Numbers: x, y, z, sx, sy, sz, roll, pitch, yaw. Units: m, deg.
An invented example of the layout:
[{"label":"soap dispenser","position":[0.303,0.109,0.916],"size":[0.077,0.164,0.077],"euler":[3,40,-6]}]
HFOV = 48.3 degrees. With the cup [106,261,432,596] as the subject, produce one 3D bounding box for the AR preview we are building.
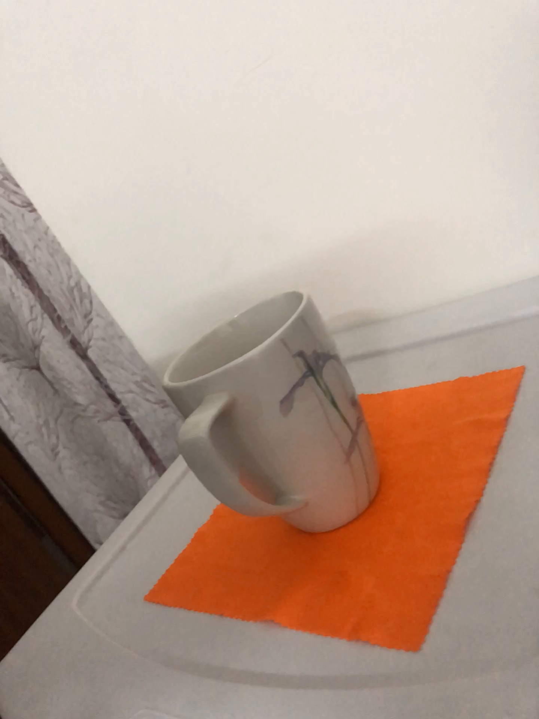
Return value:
[{"label":"cup","position":[0.009,0.033,0.303],"size":[0.090,0.100,0.120],"euler":[-19,22,34]}]
